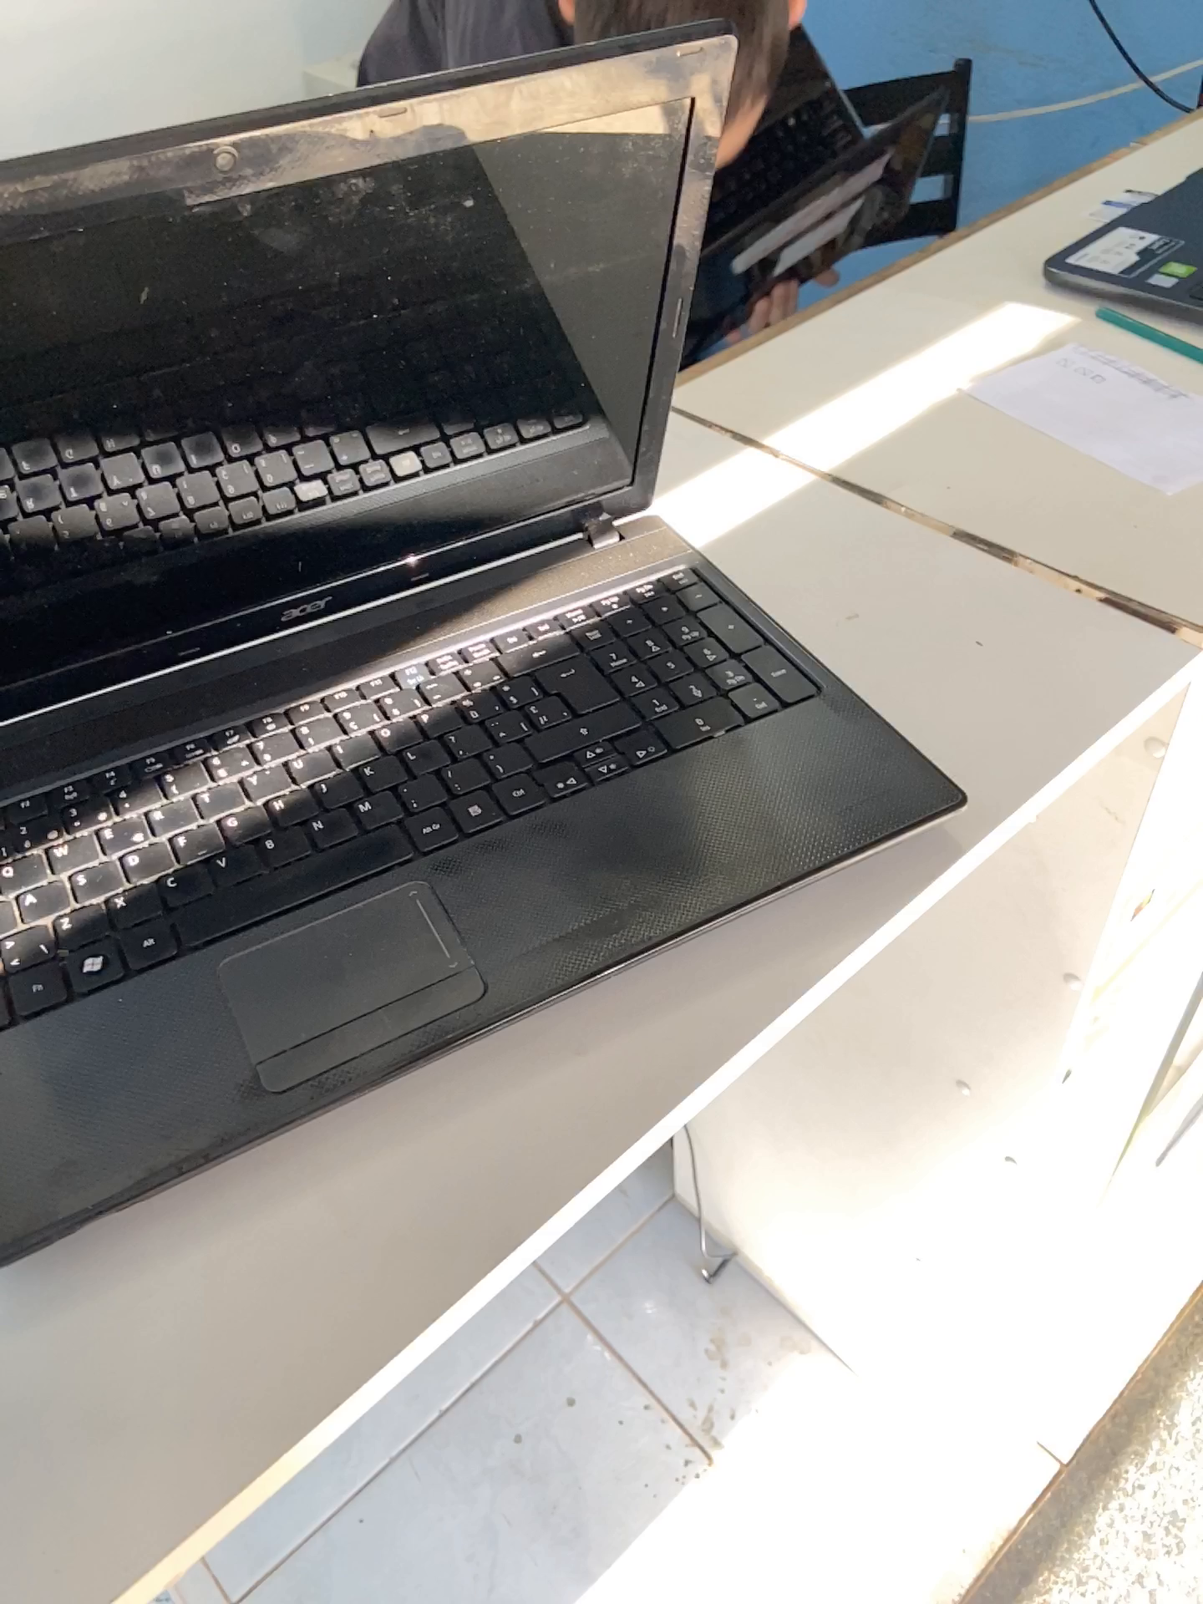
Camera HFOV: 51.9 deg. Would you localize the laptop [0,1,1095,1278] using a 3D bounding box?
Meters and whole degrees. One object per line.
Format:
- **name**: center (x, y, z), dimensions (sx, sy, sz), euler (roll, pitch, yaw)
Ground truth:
- **laptop**: center (-0.092, -0.086, 0.423), dimensions (0.374, 0.234, 0.254), euler (-23, 47, -18)
